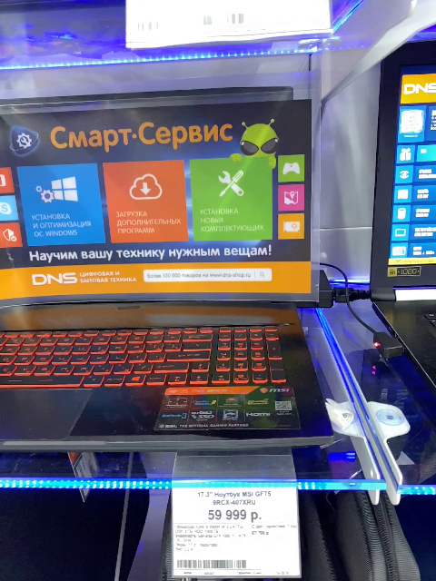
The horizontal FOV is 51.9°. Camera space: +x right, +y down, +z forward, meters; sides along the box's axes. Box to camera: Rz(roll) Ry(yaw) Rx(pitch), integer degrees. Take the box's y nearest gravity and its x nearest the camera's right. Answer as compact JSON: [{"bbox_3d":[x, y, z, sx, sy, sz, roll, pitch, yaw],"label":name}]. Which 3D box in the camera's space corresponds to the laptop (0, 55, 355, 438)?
[{"bbox_3d":[-0.121,-0.058,0.416,0.404,0.237,0.288,-1,21,3],"label":"laptop"}]
